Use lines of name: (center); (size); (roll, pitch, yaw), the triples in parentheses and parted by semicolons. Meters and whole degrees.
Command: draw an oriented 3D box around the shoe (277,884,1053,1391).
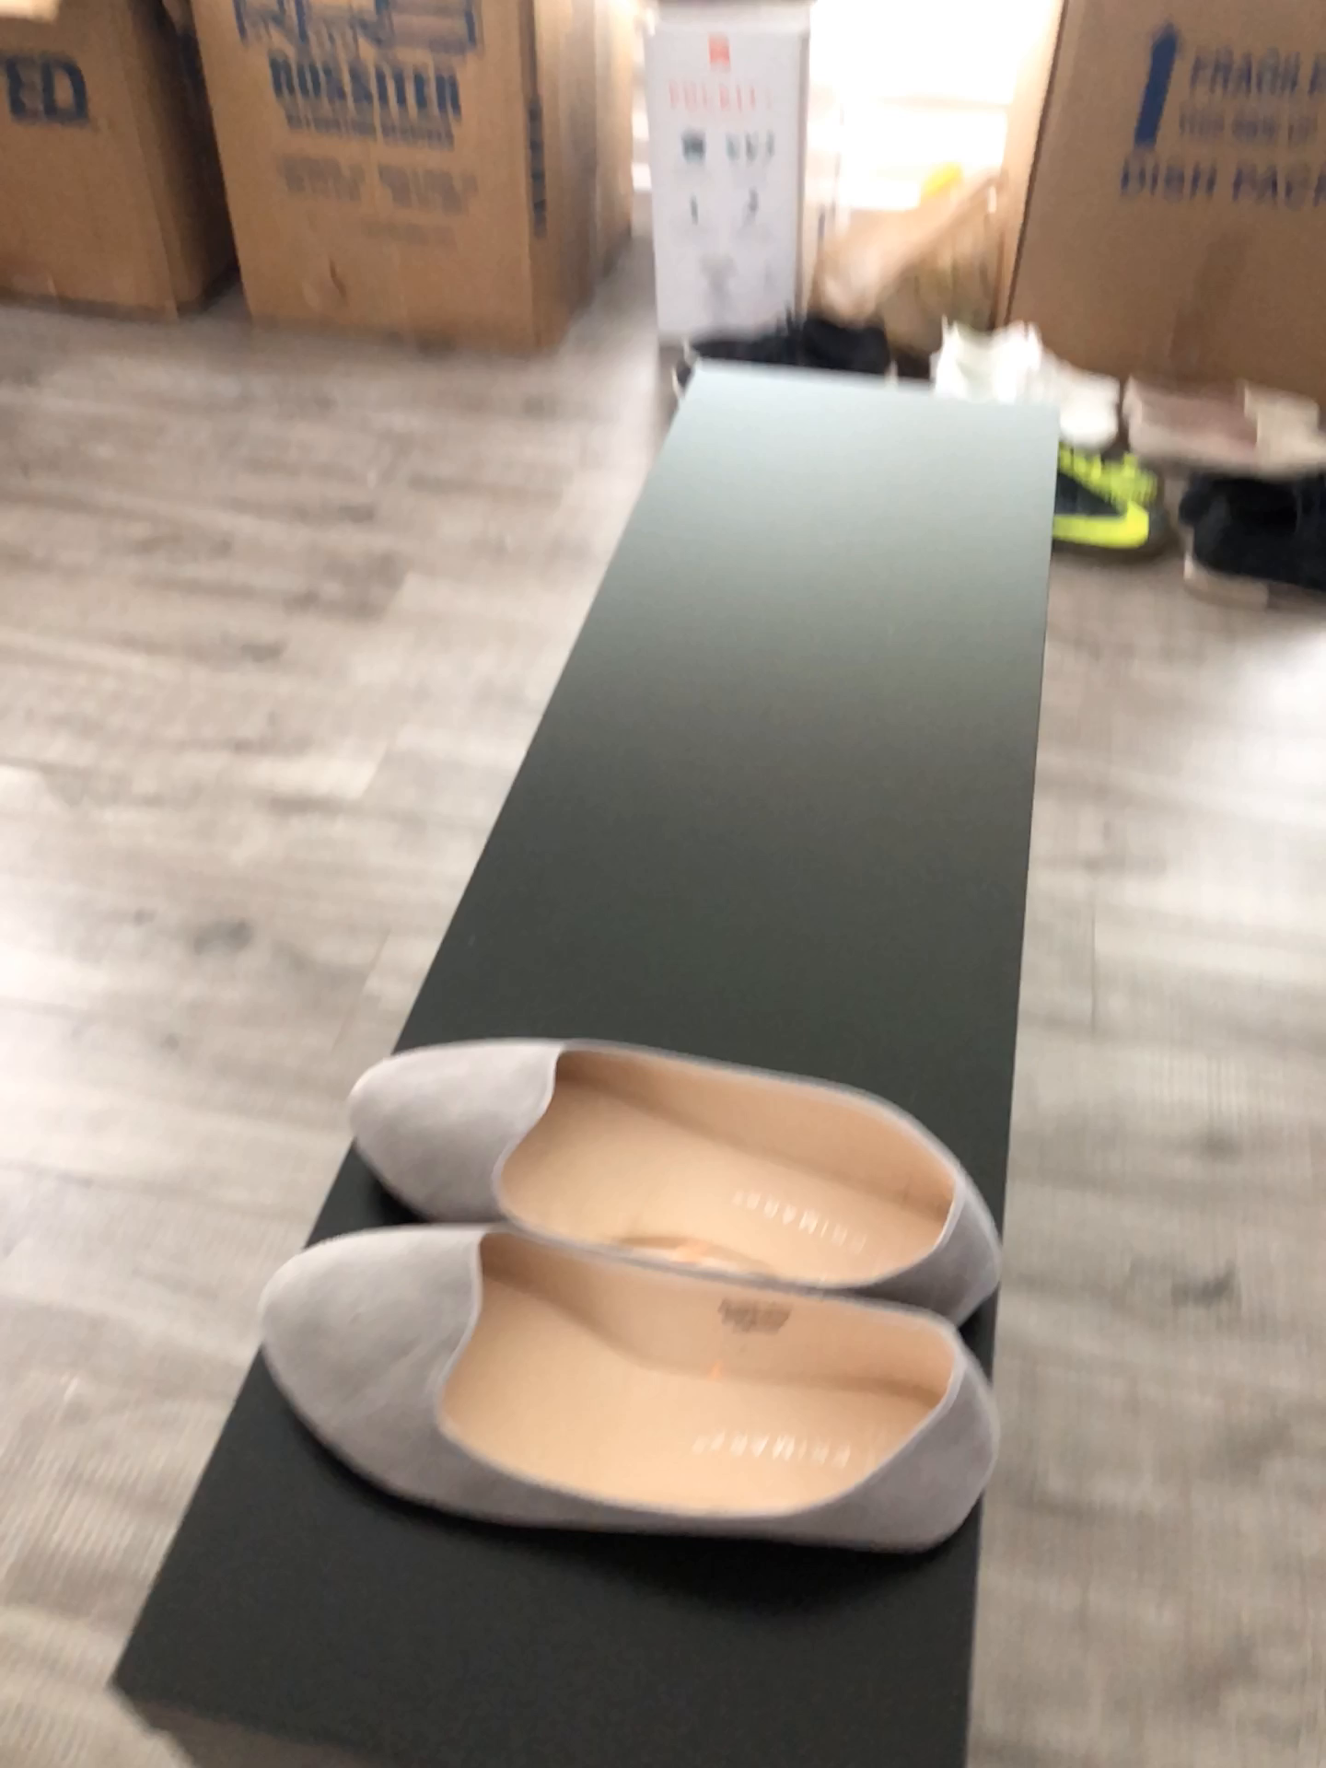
shoe: (0.003, 0.089, 0.541); (0.253, 0.090, 0.100); (11, 46, 10)

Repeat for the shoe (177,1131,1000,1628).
shoe: (-0.019, 0.162, 0.495); (0.250, 0.060, 0.100); (8, 46, 8)
